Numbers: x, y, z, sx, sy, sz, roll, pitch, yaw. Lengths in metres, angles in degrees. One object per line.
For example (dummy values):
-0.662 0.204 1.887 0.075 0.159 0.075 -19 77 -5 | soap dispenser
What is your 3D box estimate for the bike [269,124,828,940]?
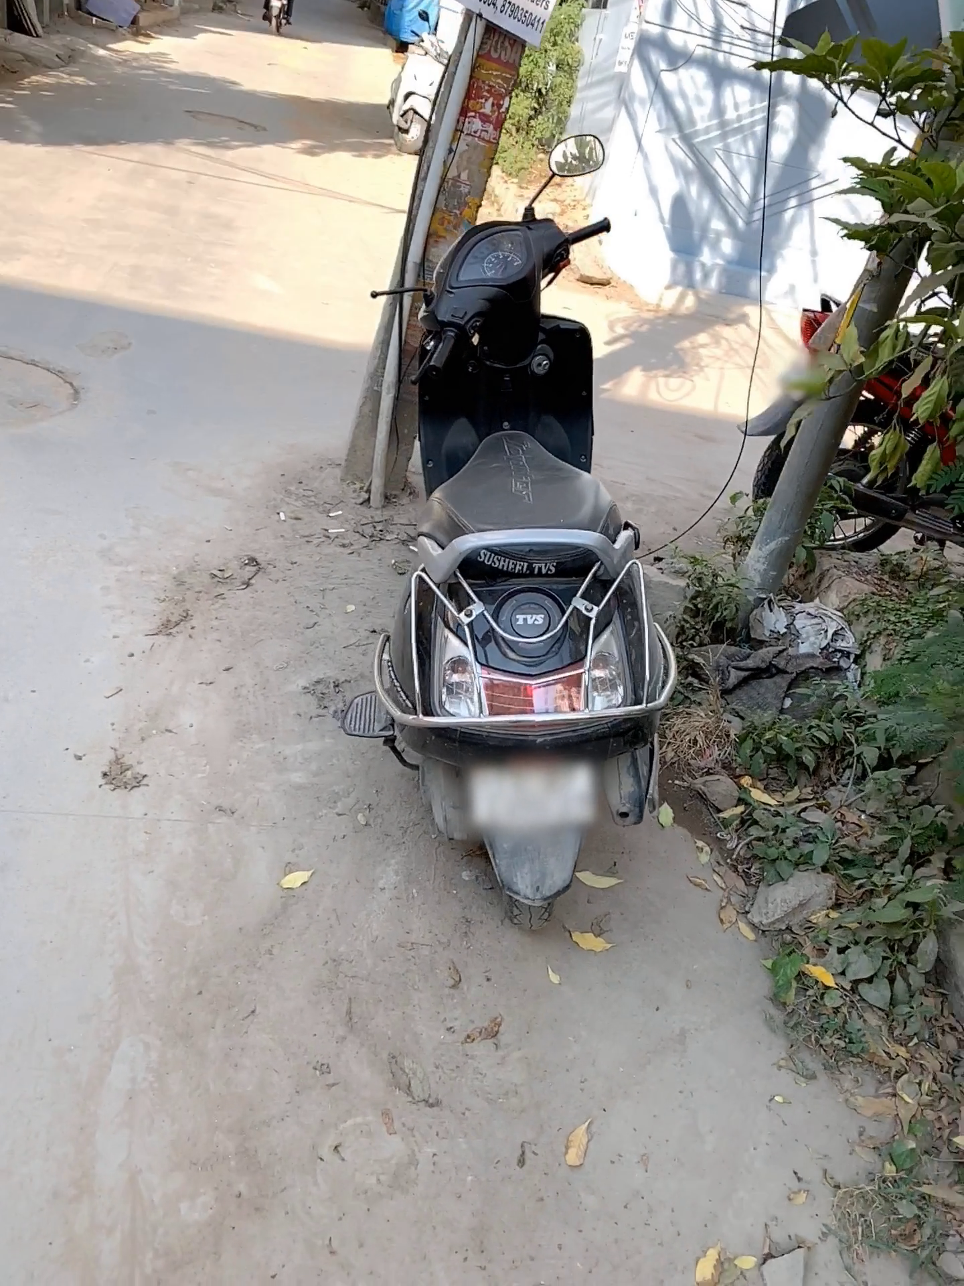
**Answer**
-0.007 -0.435 2.195 0.618 0.943 1.826 8 33 -10 | bike
